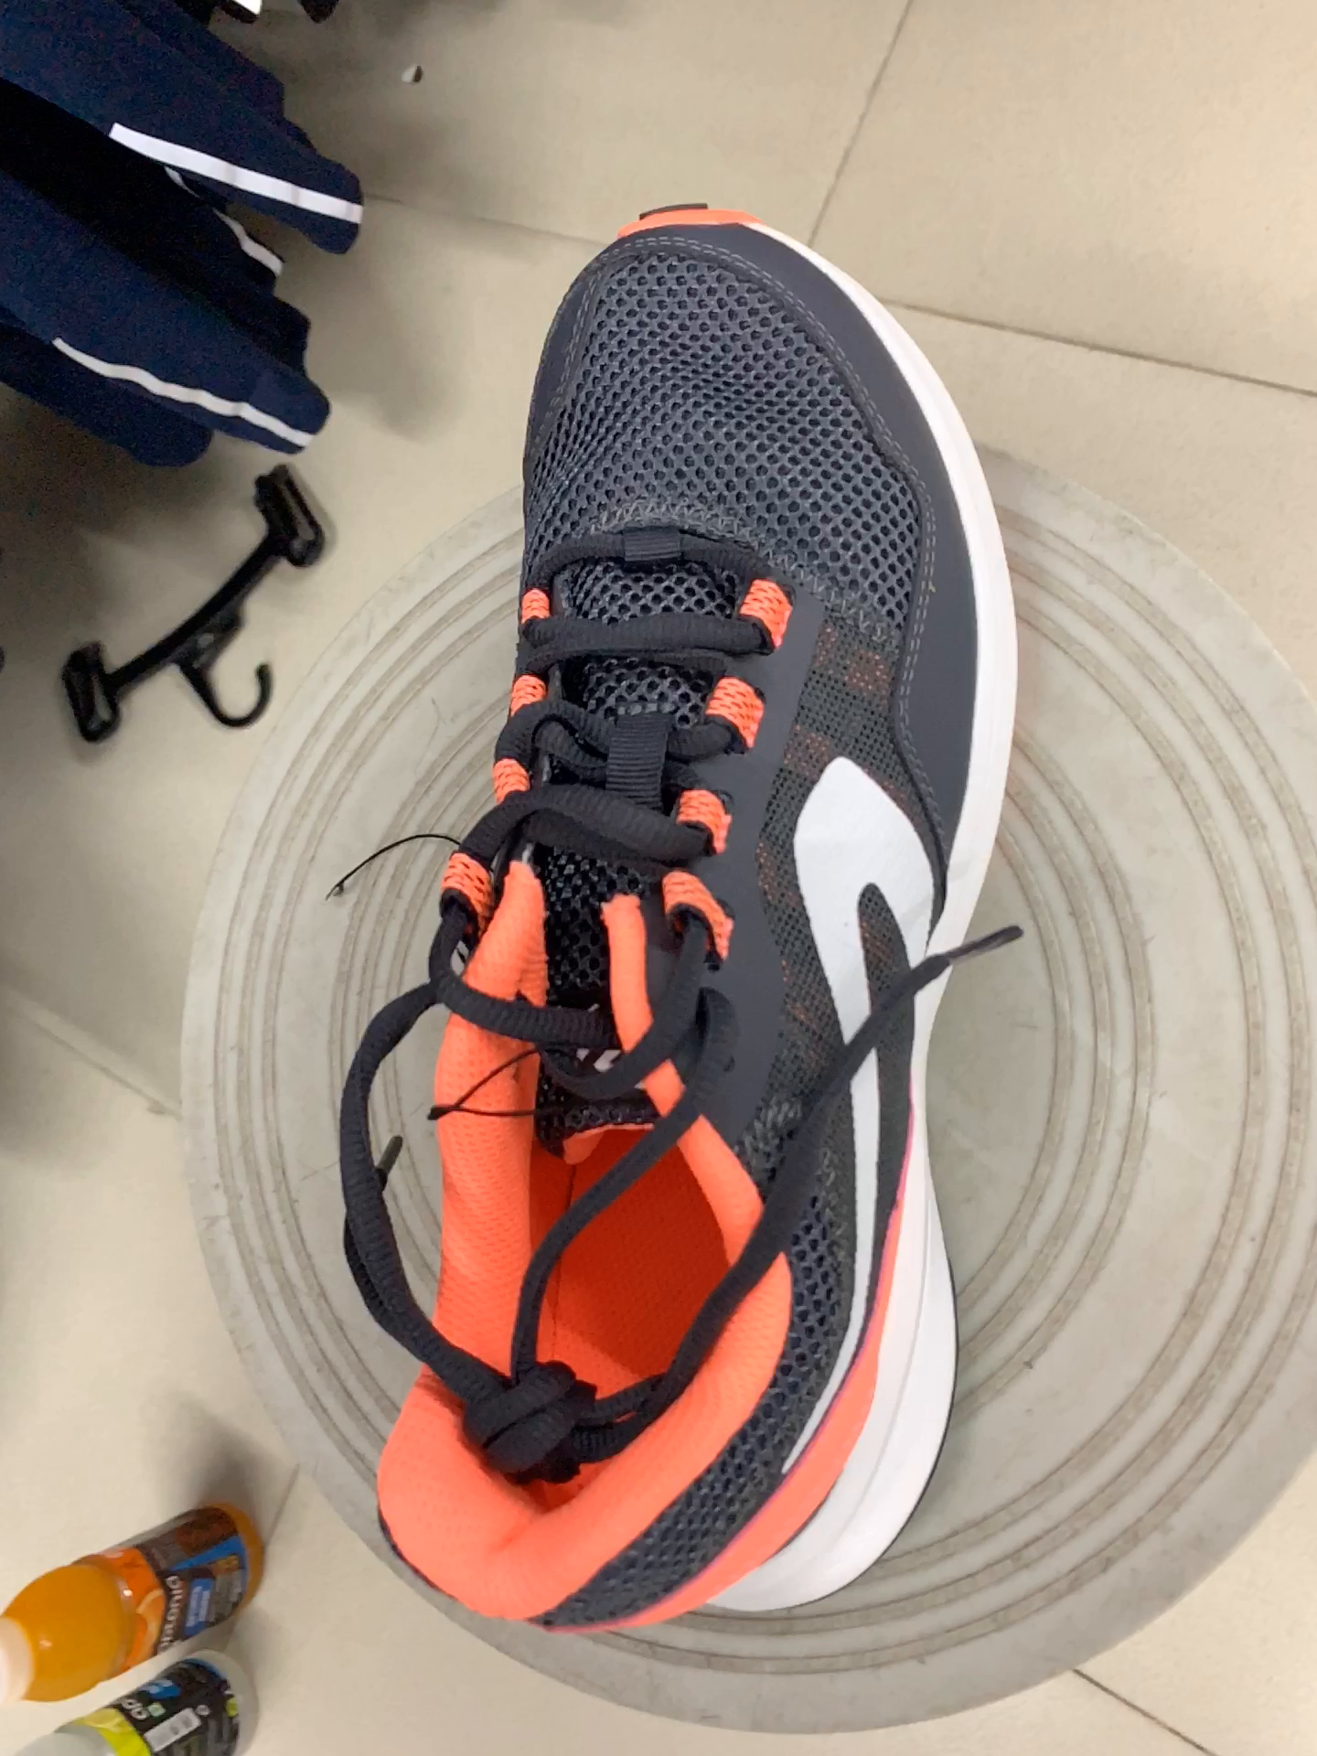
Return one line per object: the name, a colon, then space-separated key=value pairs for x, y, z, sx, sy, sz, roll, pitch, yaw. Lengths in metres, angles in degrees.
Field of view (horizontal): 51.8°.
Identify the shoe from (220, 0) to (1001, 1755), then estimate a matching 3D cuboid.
shoe: x=0.006 y=-0.006 z=0.270 sx=0.100 sy=0.120 sz=0.290 roll=0 pitch=82 yaw=23
